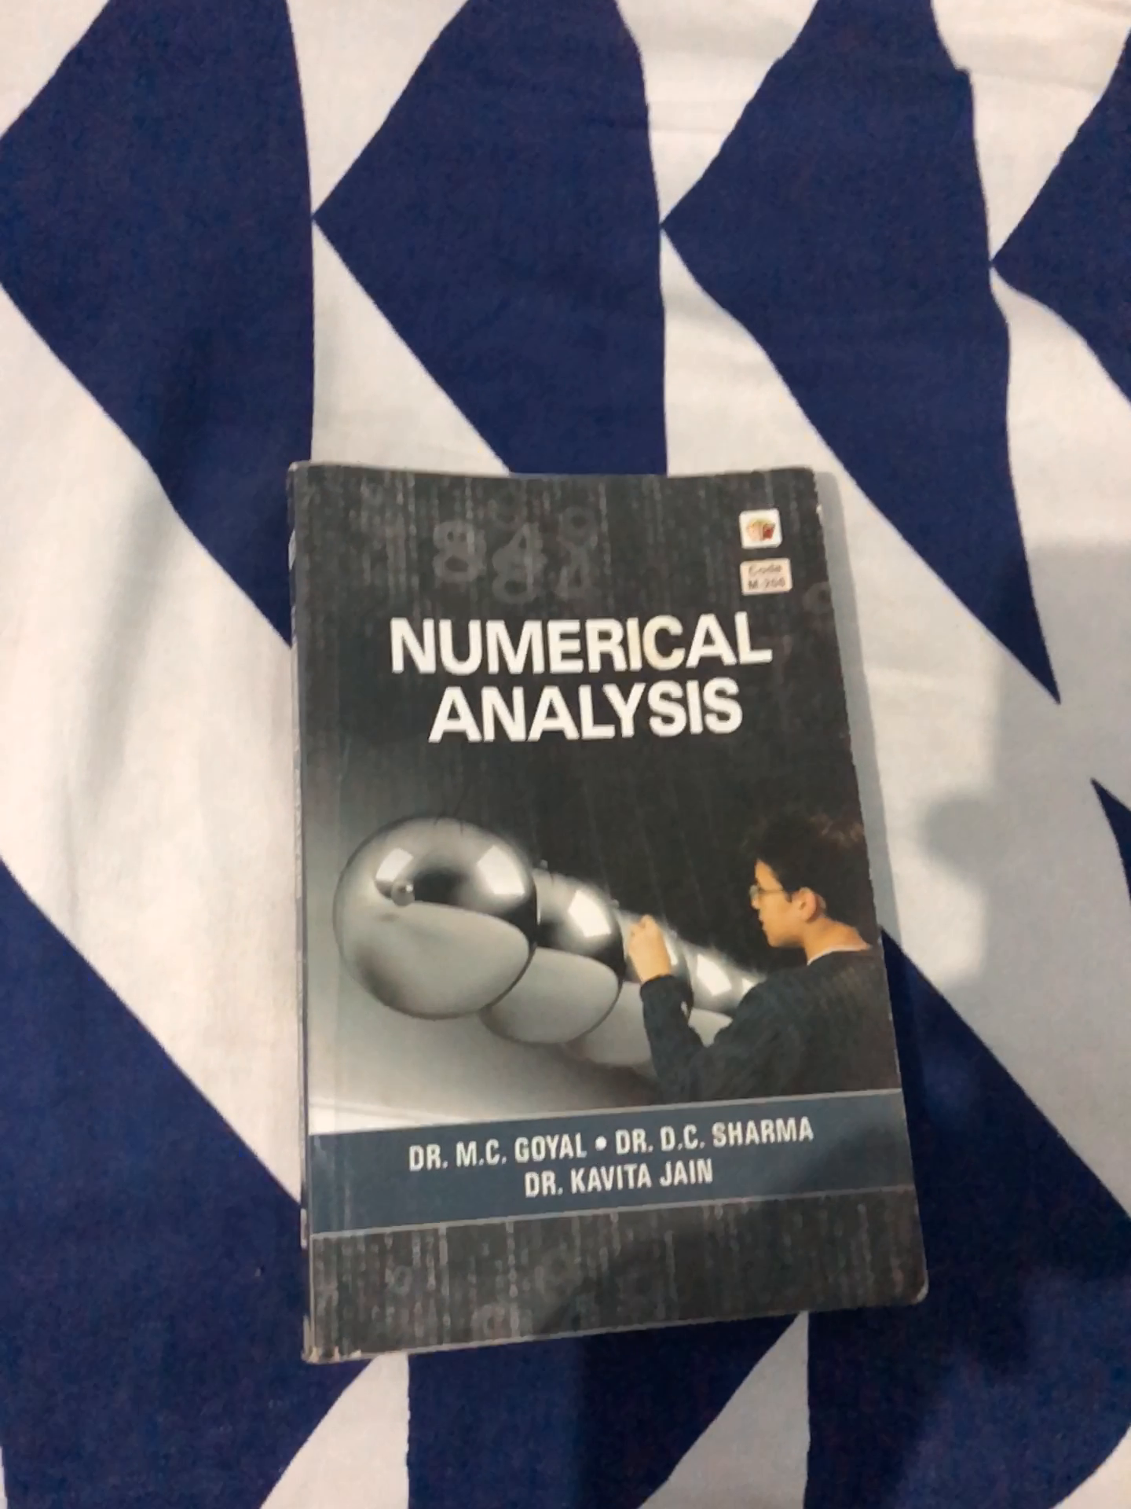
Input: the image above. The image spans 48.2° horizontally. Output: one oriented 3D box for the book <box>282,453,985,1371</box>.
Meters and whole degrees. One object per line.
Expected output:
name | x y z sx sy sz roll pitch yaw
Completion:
book | 0.010 0.026 0.287 0.140 0.030 0.190 -2 77 -9
